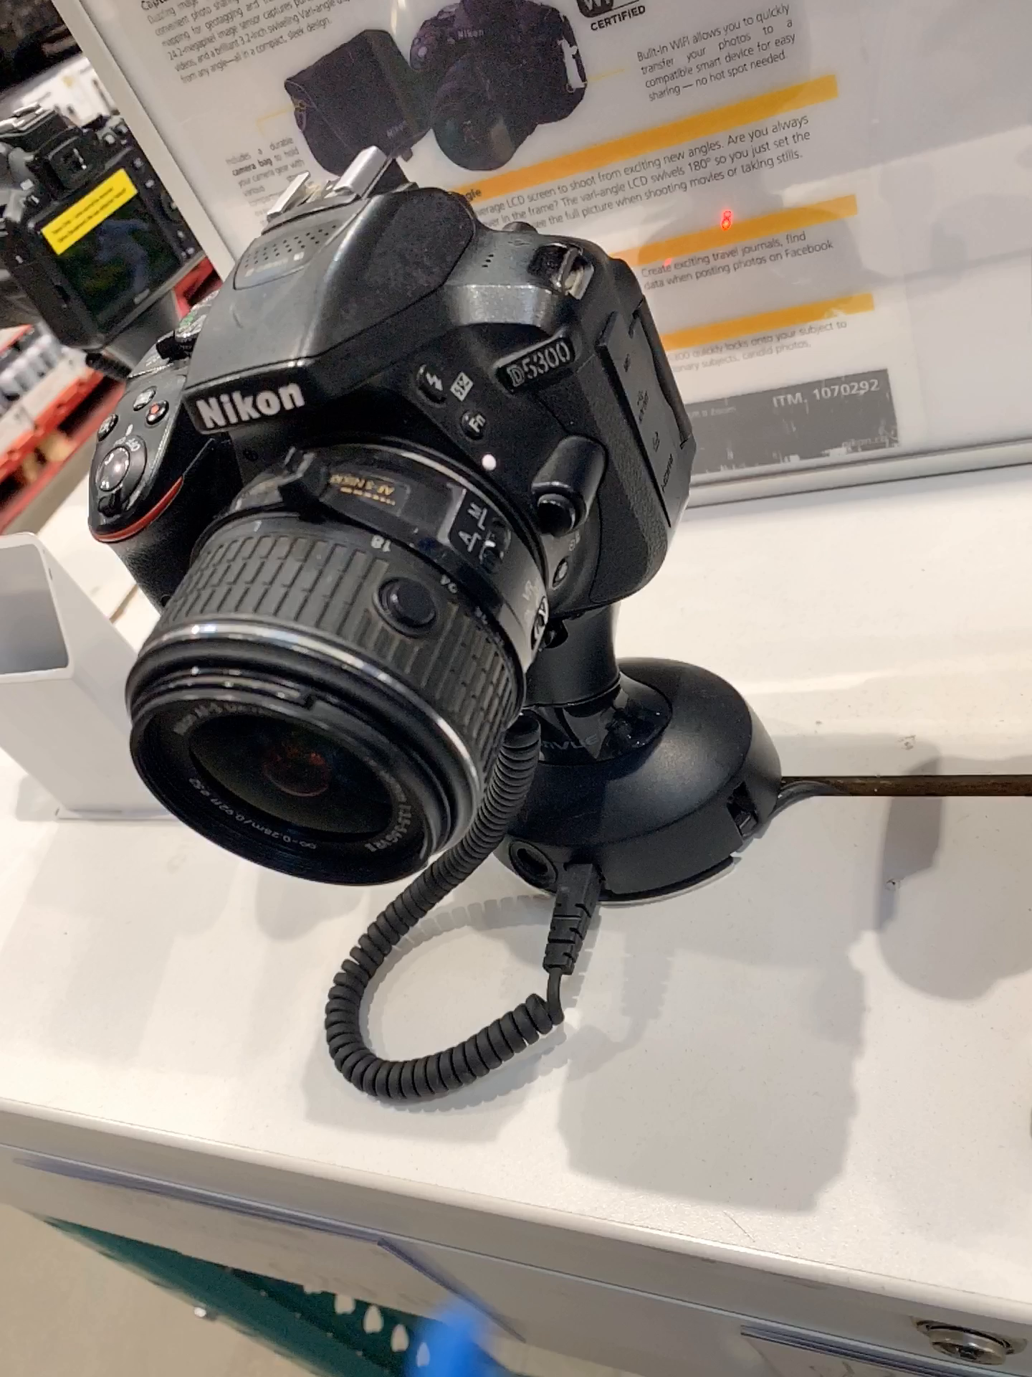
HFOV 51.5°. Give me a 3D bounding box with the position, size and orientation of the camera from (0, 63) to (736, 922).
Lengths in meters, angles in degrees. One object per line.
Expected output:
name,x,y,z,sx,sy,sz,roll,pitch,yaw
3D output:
camera,-0.032,-0.036,0.202,0.120,0.069,0.141,-7,44,25
